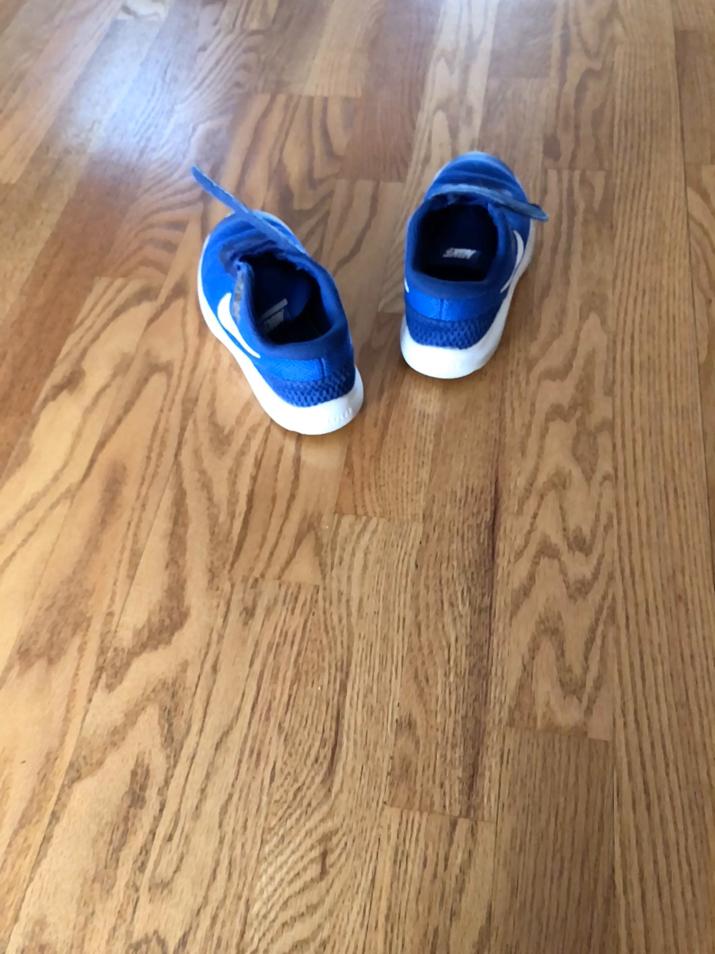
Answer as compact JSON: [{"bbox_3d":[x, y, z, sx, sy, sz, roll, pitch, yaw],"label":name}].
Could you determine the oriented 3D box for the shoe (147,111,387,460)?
[{"bbox_3d":[-0.063,-0.134,0.530,0.093,0.092,0.215,-18,58,-8],"label":"shoe"}]

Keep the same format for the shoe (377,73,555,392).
[{"bbox_3d":[0.079,-0.177,0.554,0.093,0.092,0.215,7,58,8],"label":"shoe"}]
